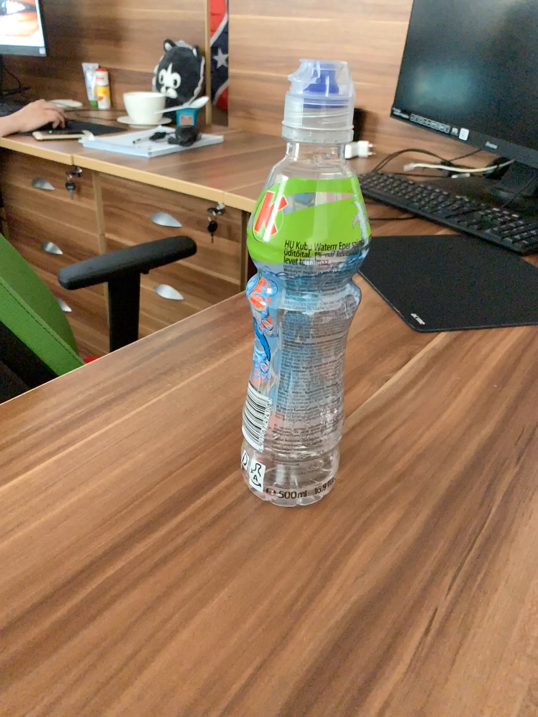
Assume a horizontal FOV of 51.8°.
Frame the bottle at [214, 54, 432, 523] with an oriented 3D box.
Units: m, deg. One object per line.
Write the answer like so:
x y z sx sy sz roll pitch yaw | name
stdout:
0.016 -0.029 0.307 0.070 0.239 0.070 3 30 -1 | bottle
